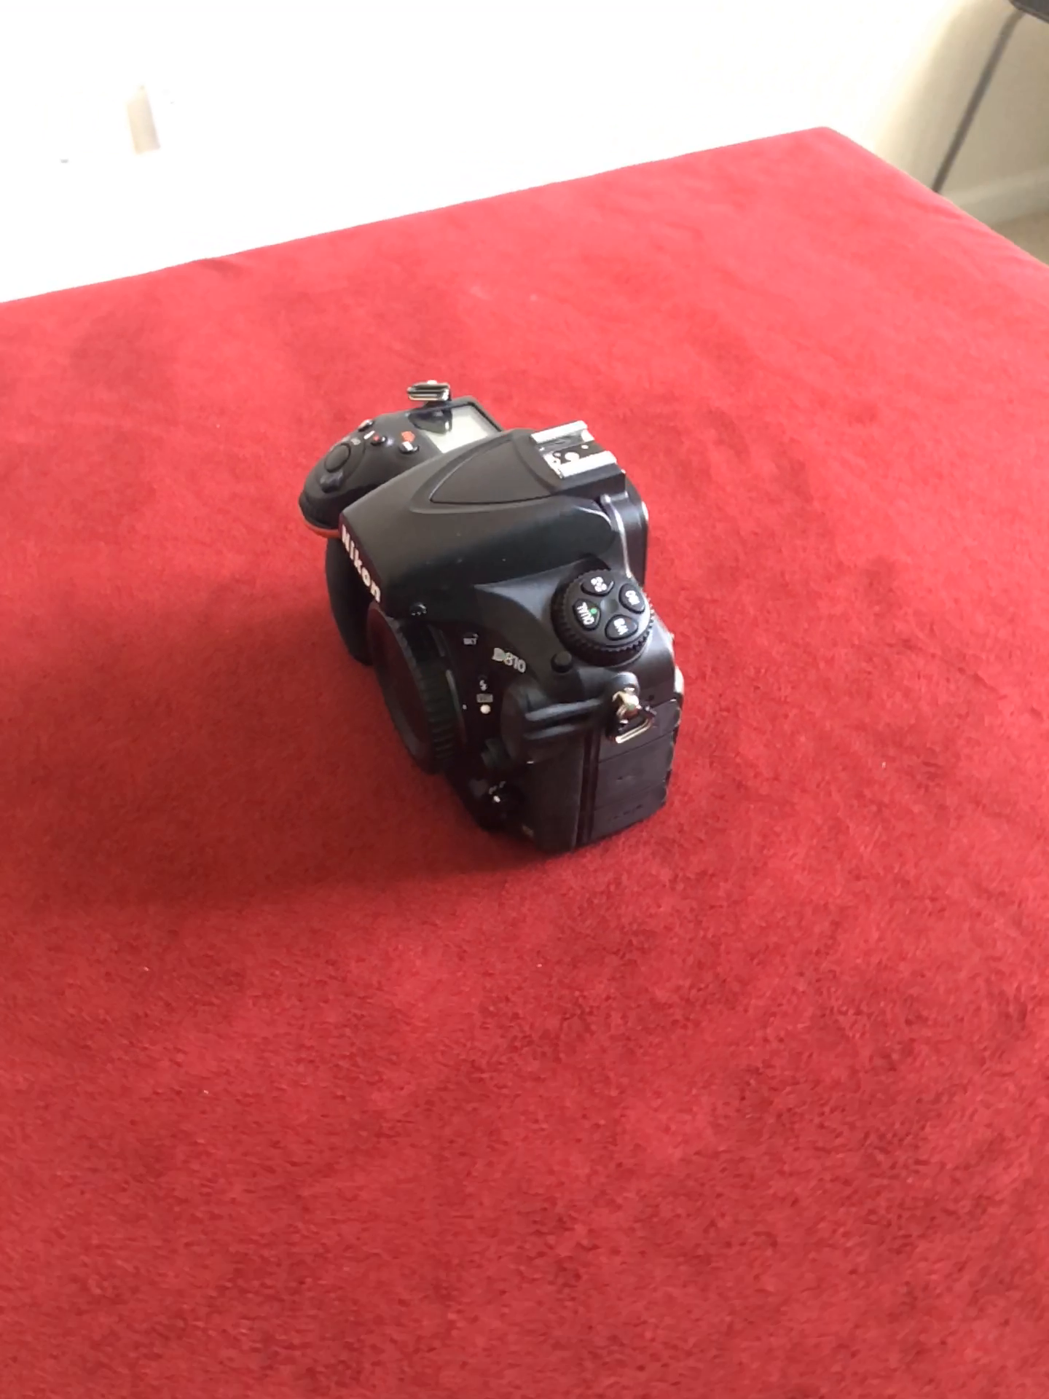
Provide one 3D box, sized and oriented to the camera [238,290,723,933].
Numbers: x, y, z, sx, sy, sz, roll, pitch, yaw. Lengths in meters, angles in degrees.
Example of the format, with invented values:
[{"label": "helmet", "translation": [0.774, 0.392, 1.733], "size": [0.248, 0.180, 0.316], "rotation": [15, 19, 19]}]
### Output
[{"label": "camera", "translation": [-0.018, -0.031, 0.380], "size": [0.083, 0.129, 0.146], "rotation": [-22, 51, -17]}]
